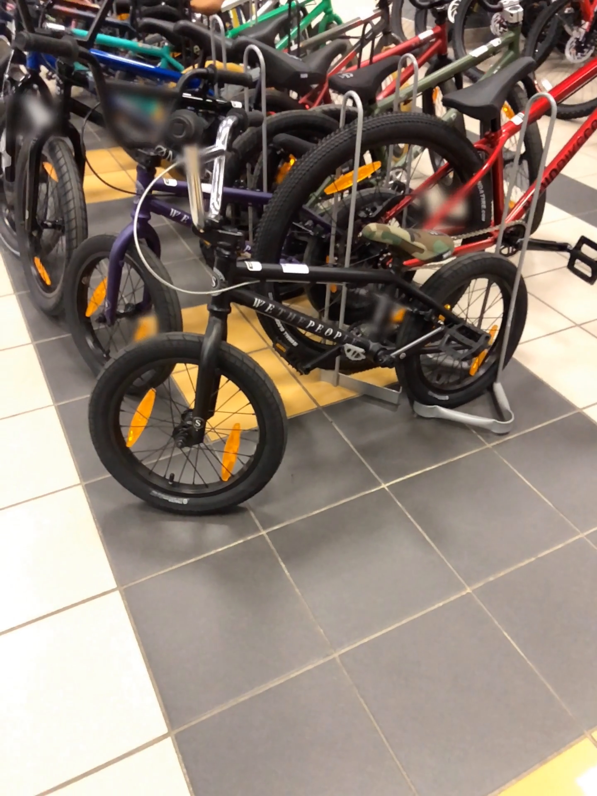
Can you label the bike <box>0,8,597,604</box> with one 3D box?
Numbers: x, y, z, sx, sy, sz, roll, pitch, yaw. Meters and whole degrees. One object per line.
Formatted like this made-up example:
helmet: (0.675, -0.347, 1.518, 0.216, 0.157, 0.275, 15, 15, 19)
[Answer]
bike: (0.095, -0.258, 1.326, 1.072, 0.810, 0.679, -13, 40, -21)
